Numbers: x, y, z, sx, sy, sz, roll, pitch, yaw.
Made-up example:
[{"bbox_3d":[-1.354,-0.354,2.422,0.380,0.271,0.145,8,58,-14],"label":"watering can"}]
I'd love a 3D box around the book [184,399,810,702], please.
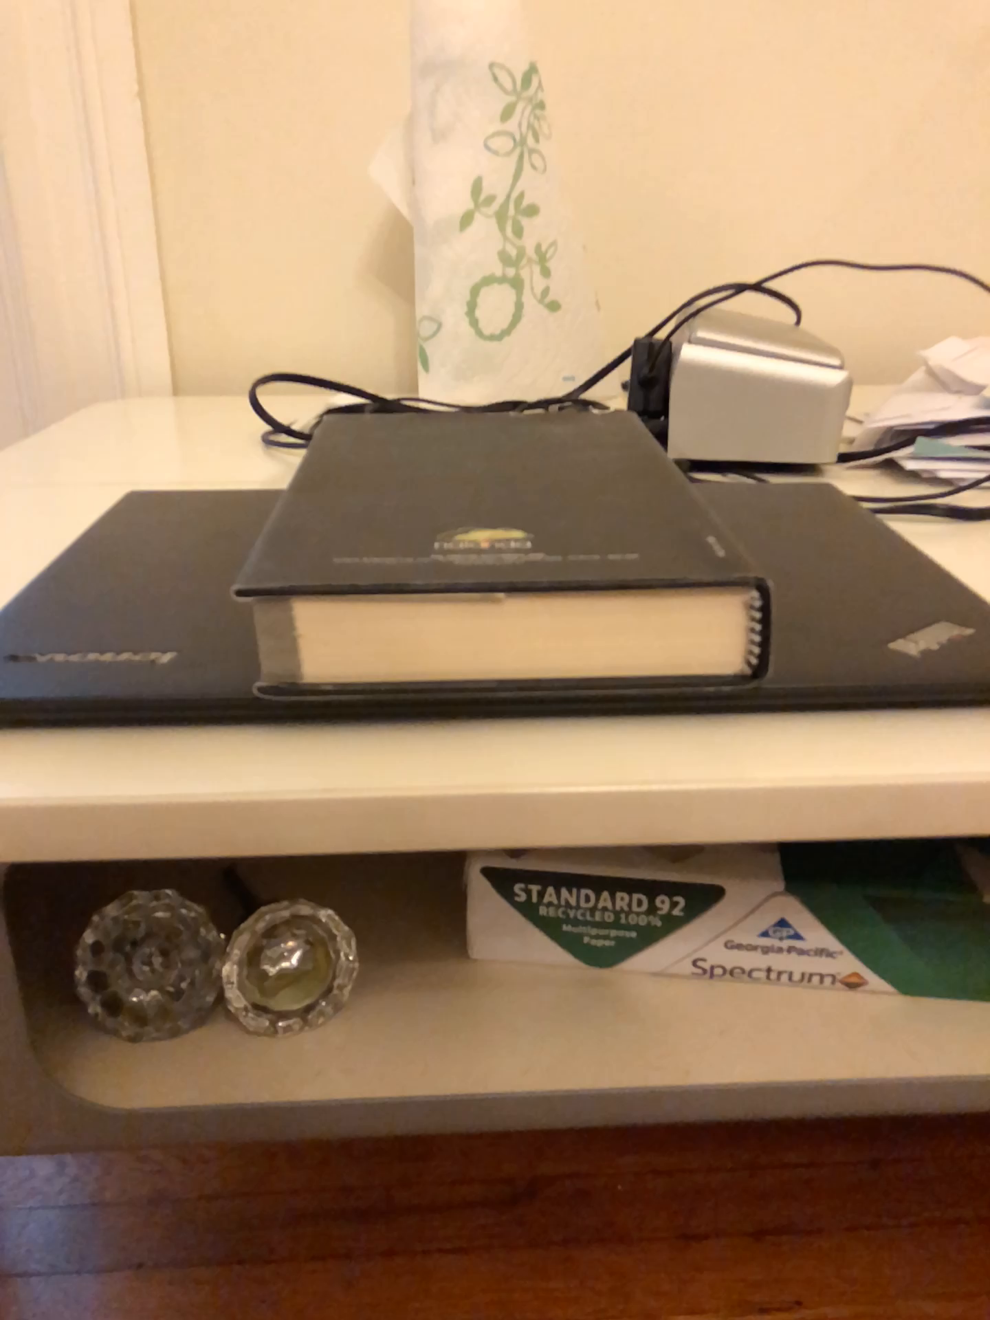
[{"bbox_3d":[-0.003,-0.052,0.376,0.150,0.040,0.231,-1,21,-2],"label":"book"}]
